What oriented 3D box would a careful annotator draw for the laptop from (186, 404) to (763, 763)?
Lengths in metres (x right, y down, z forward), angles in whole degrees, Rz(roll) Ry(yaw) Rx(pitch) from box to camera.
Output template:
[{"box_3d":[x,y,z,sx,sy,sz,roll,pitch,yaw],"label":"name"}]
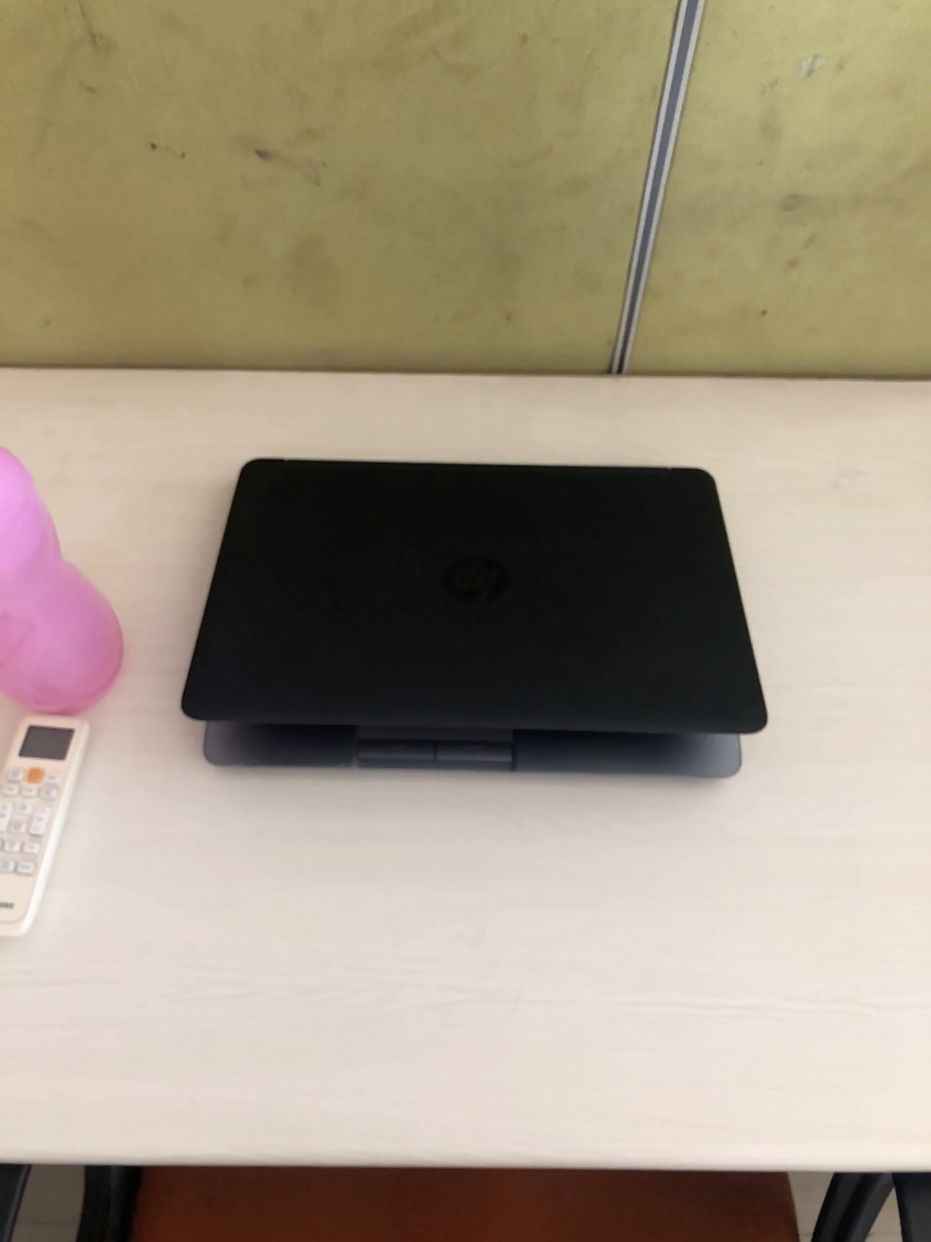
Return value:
[{"box_3d":[0.010,-0.030,0.665,0.330,0.050,0.227,2,62,1],"label":"laptop"}]
